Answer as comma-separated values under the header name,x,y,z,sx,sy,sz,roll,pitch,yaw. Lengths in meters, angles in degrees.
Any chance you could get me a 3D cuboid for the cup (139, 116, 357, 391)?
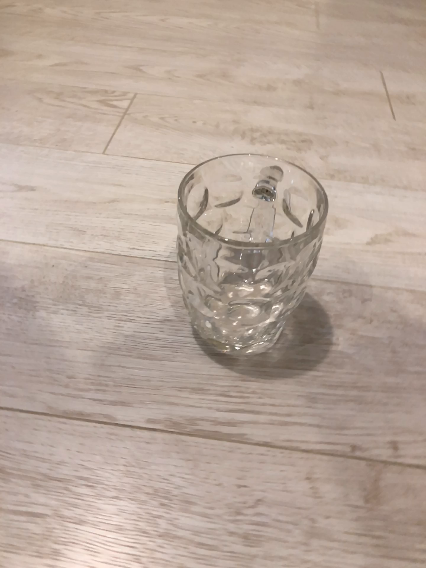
name,x,y,z,sx,sy,sz,roll,pitch,yaw
cup,0.028,-0.026,0.335,0.100,0.109,0.141,17,48,12
